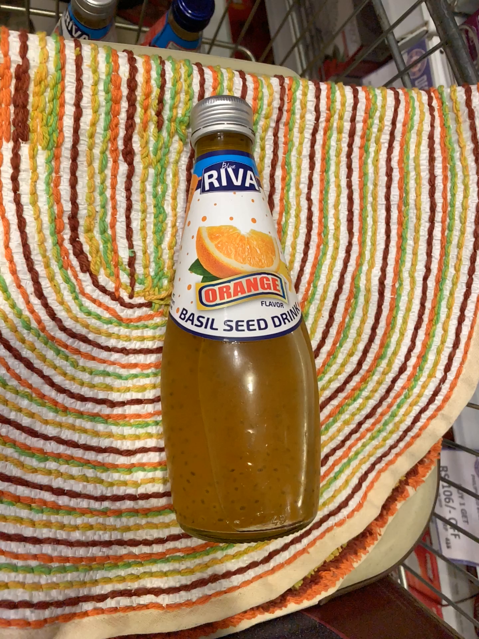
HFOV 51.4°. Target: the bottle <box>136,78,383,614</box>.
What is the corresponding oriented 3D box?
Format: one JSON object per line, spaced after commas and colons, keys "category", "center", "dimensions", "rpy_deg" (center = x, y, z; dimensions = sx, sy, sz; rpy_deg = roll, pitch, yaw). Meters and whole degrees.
{"category": "bottle", "center": [0.003, 0.009, 0.181], "dimensions": [0.070, 0.050, 0.160], "rpy_deg": [-2, 99, -20]}
